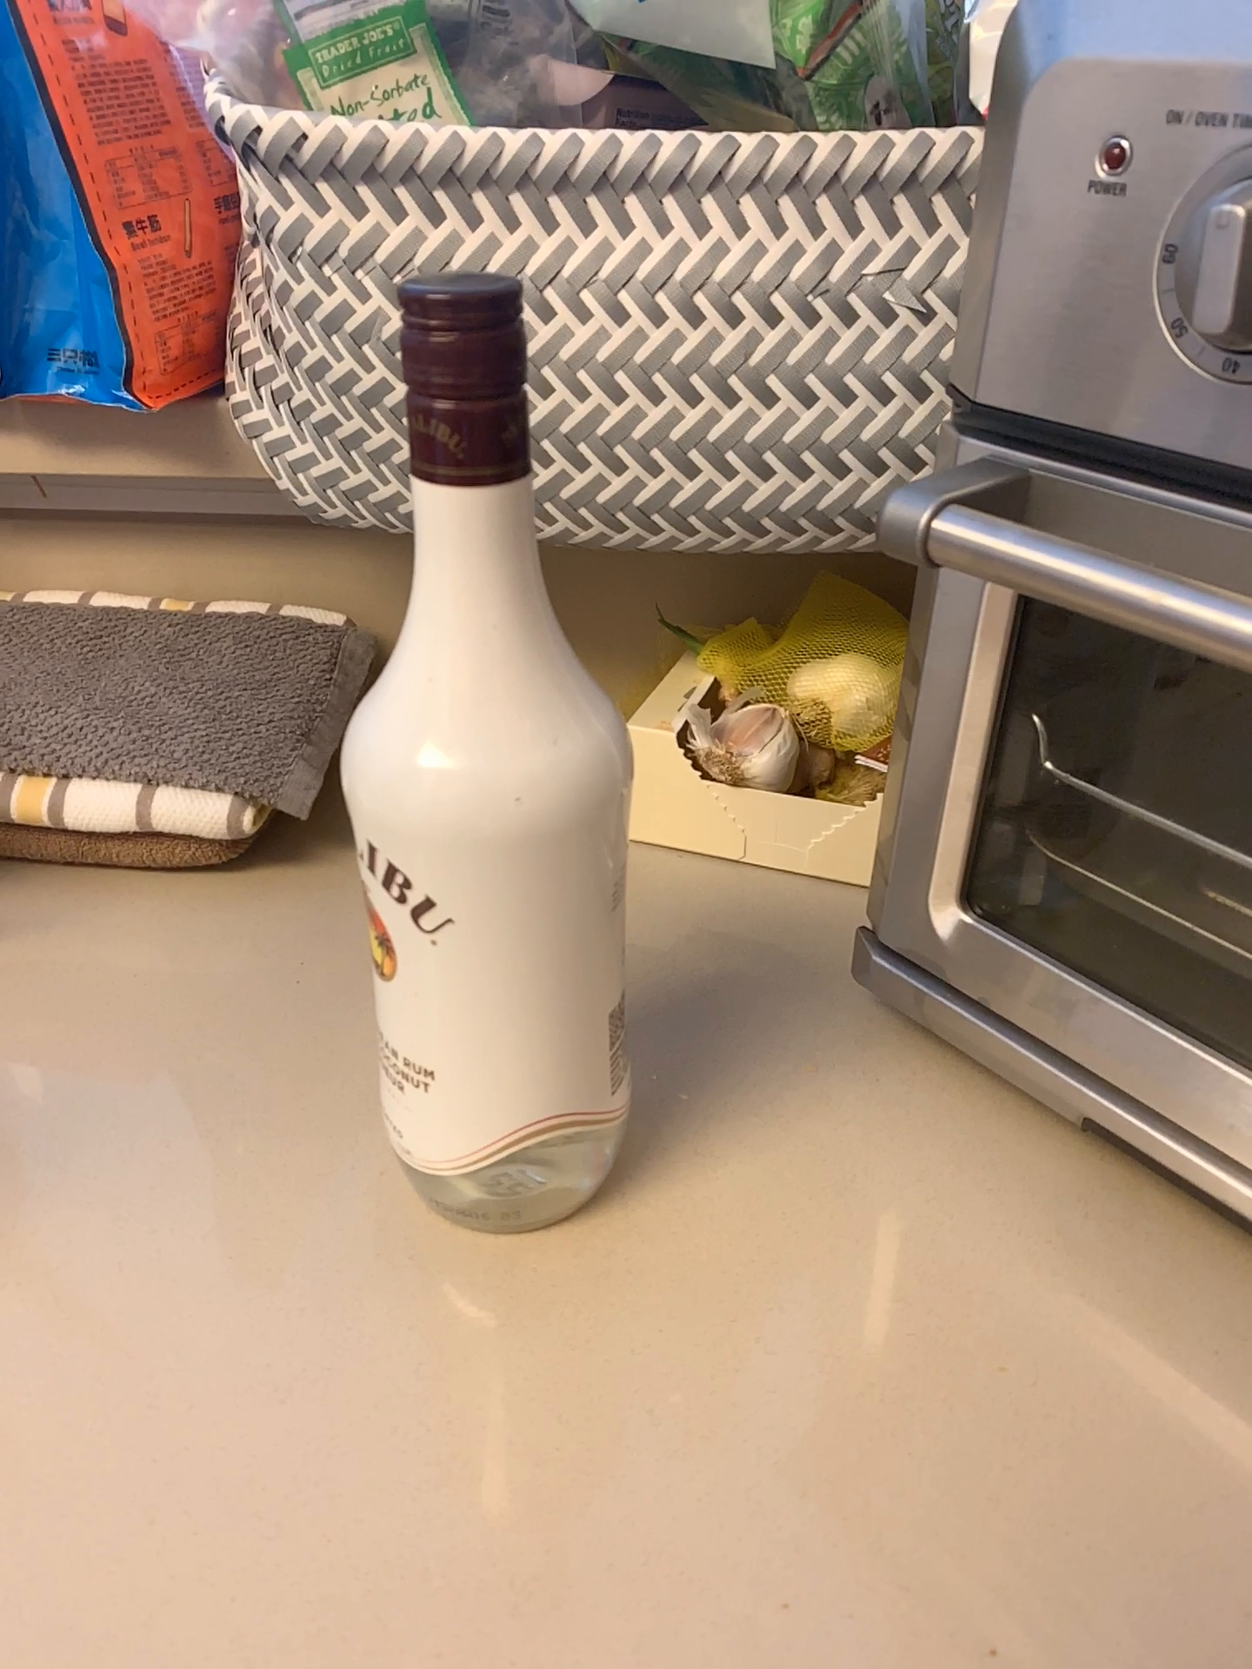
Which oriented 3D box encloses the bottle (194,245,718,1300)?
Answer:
[{"bbox_3d":[-0.038,-0.009,0.344,0.080,0.258,0.080,0,31,0],"label":"bottle"}]
